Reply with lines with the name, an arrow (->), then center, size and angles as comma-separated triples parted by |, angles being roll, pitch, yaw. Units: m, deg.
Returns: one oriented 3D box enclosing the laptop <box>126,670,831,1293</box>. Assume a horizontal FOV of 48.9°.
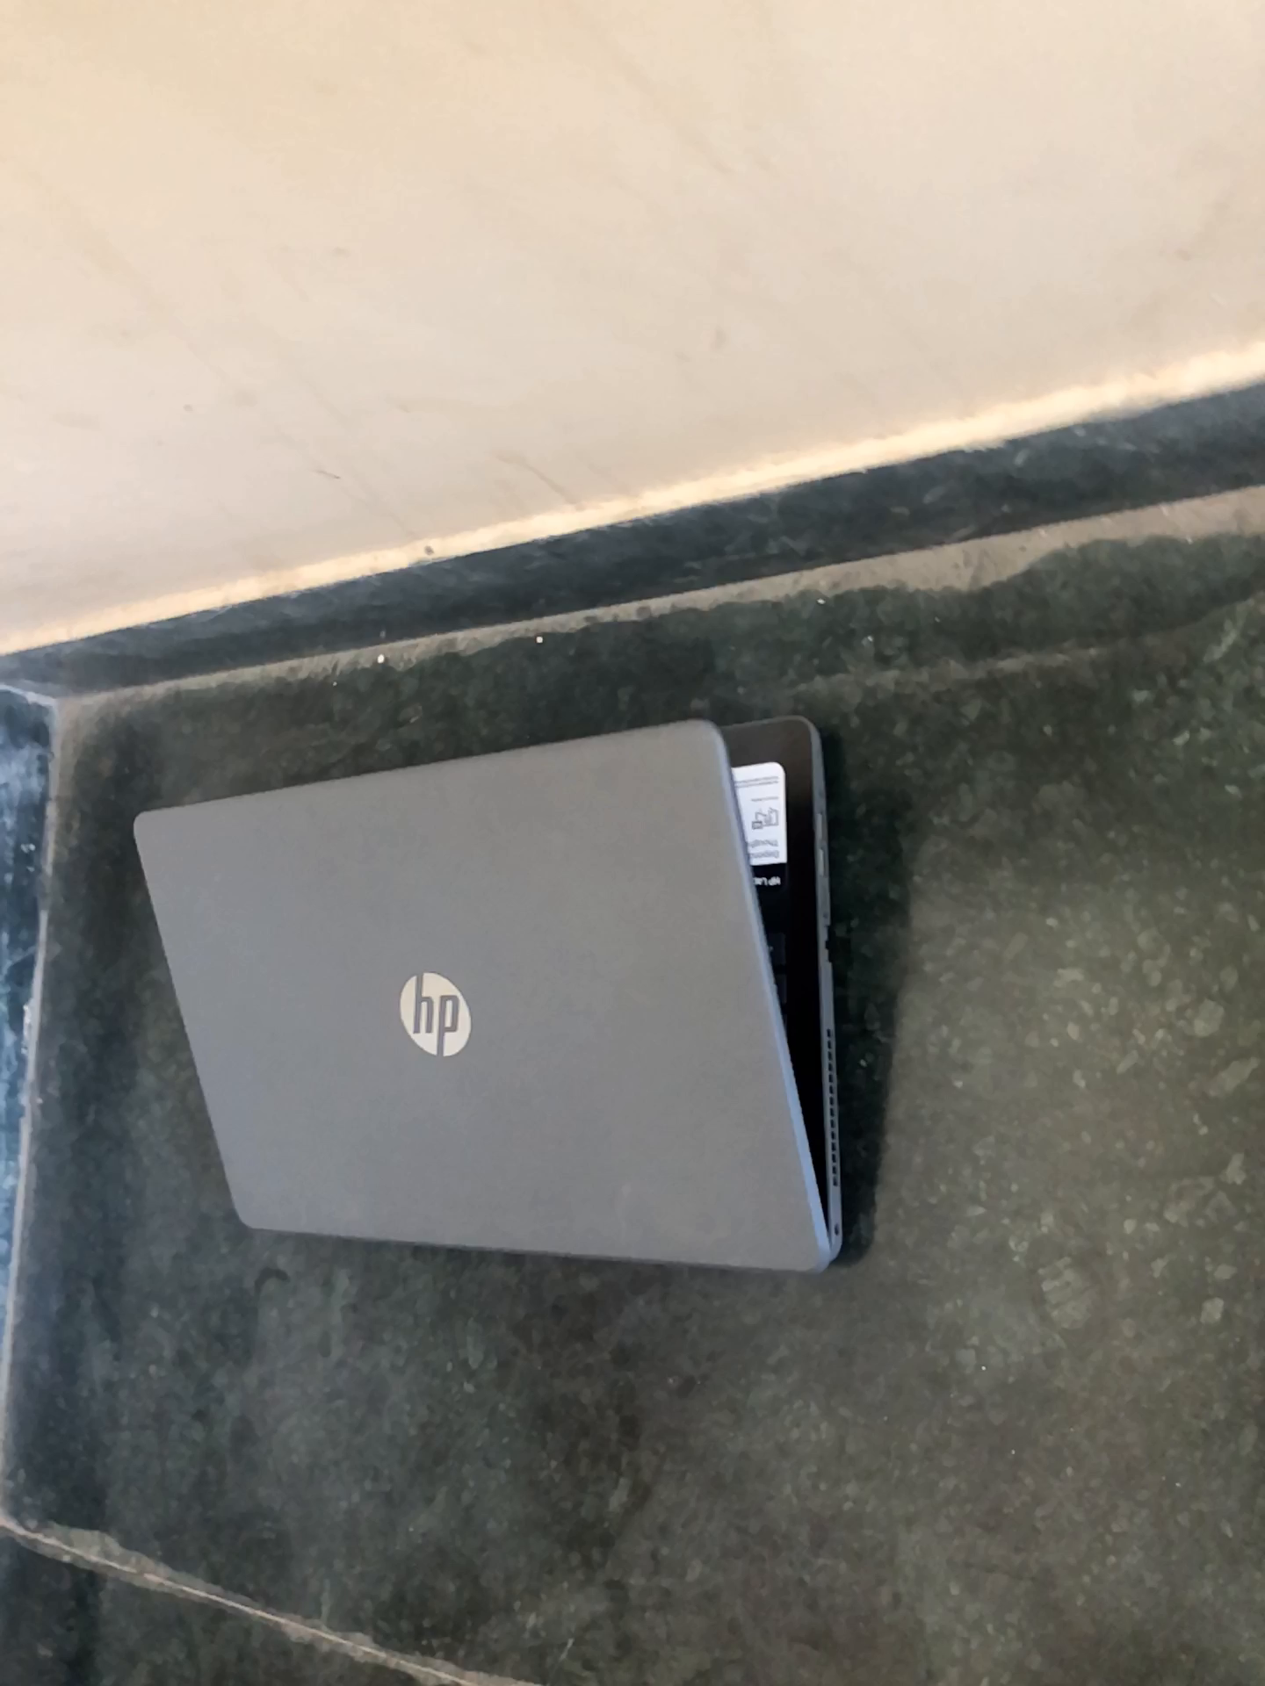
laptop -> -0.092, 0.073, 0.680 | 0.358, 0.092, 0.243 | -7, 81, 33
